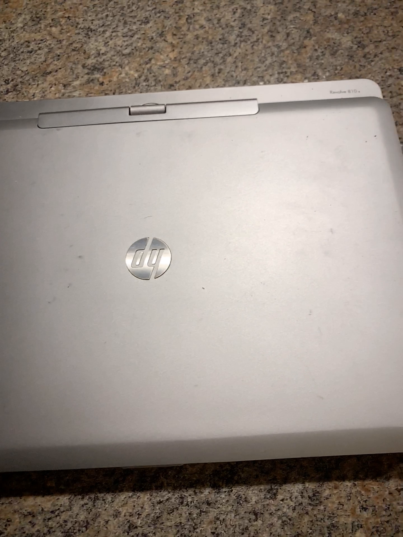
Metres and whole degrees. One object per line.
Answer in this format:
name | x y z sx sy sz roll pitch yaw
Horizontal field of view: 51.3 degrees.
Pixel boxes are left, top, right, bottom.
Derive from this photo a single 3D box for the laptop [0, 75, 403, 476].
laptop | -0.026 -0.011 0.207 0.267 0.005 0.194 -3 68 1
